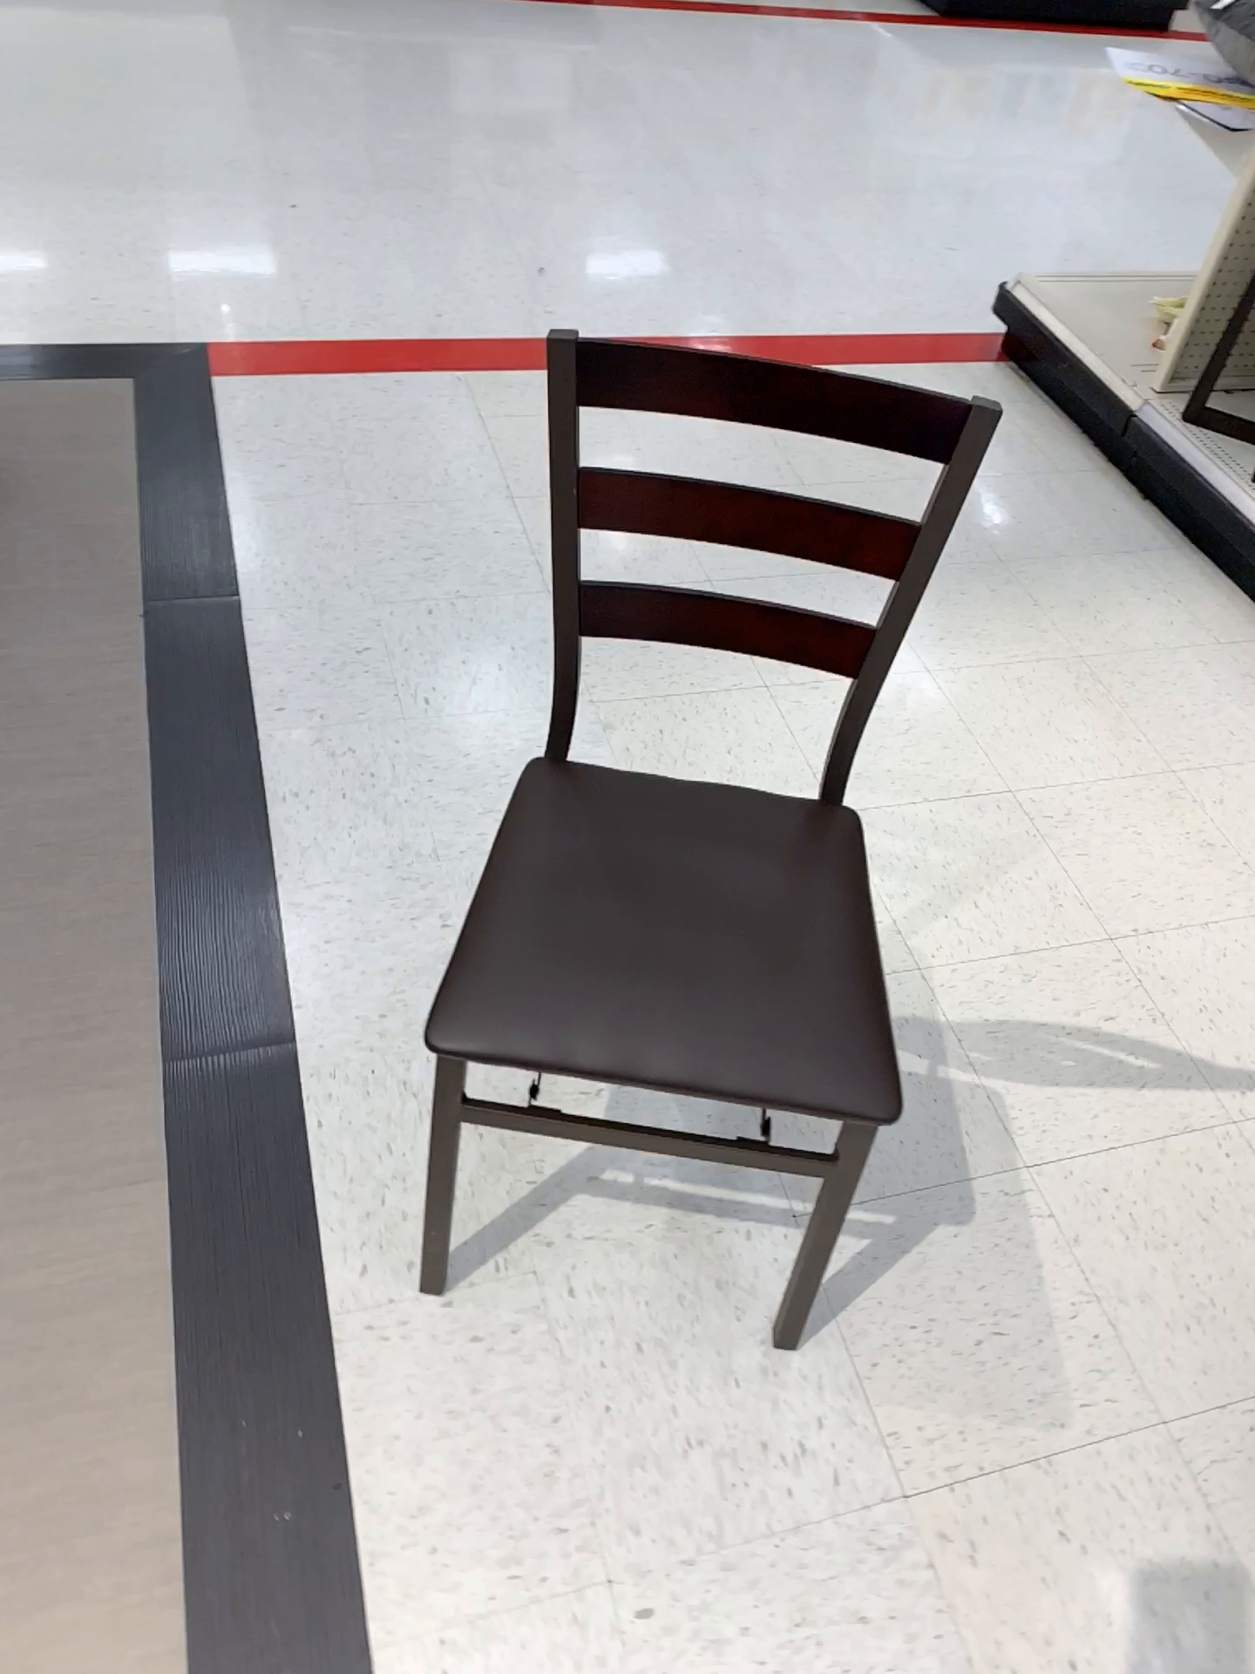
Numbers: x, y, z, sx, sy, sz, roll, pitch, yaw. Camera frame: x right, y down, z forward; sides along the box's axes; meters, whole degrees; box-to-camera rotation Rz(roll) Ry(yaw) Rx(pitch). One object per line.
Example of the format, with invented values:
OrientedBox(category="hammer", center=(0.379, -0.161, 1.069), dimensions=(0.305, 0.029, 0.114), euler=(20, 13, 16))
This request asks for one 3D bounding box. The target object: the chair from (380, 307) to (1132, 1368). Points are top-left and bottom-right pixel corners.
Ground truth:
OrientedBox(category="chair", center=(0.057, 0.046, 1.209), dimensions=(0.440, 0.826, 0.522), euler=(9, 45, 0))
